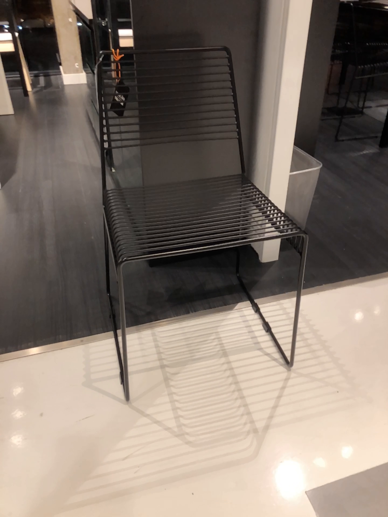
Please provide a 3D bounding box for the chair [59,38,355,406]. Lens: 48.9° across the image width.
[{"bbox_3d":[-0.019,-0.114,1.134,0.520,0.764,0.504,-9,35,-12],"label":"chair"}]
